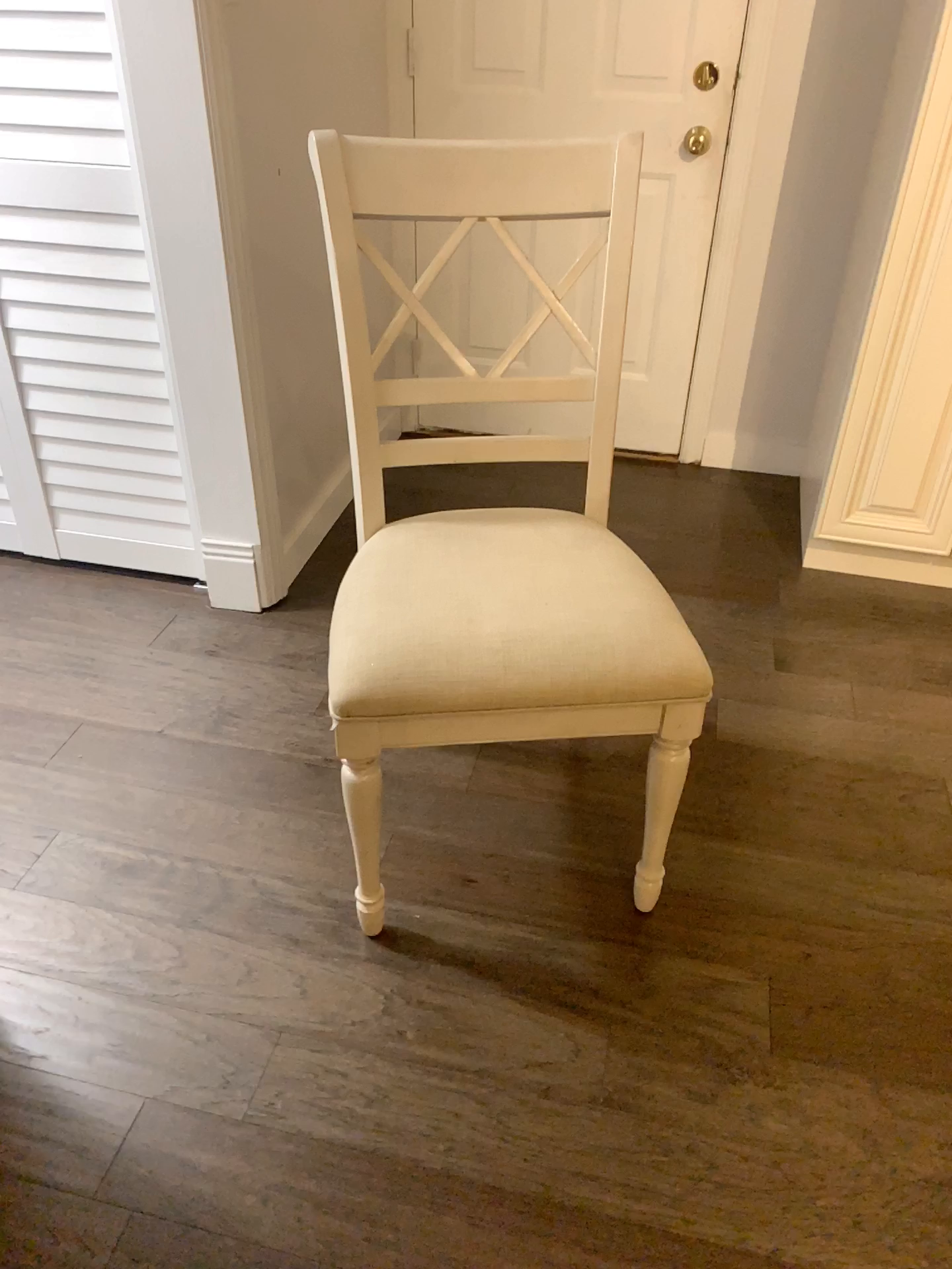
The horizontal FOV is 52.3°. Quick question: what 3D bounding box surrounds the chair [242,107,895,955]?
[{"bbox_3d":[0.045,-0.148,1.373,0.580,0.994,0.614,-3,34,-6],"label":"chair"}]
